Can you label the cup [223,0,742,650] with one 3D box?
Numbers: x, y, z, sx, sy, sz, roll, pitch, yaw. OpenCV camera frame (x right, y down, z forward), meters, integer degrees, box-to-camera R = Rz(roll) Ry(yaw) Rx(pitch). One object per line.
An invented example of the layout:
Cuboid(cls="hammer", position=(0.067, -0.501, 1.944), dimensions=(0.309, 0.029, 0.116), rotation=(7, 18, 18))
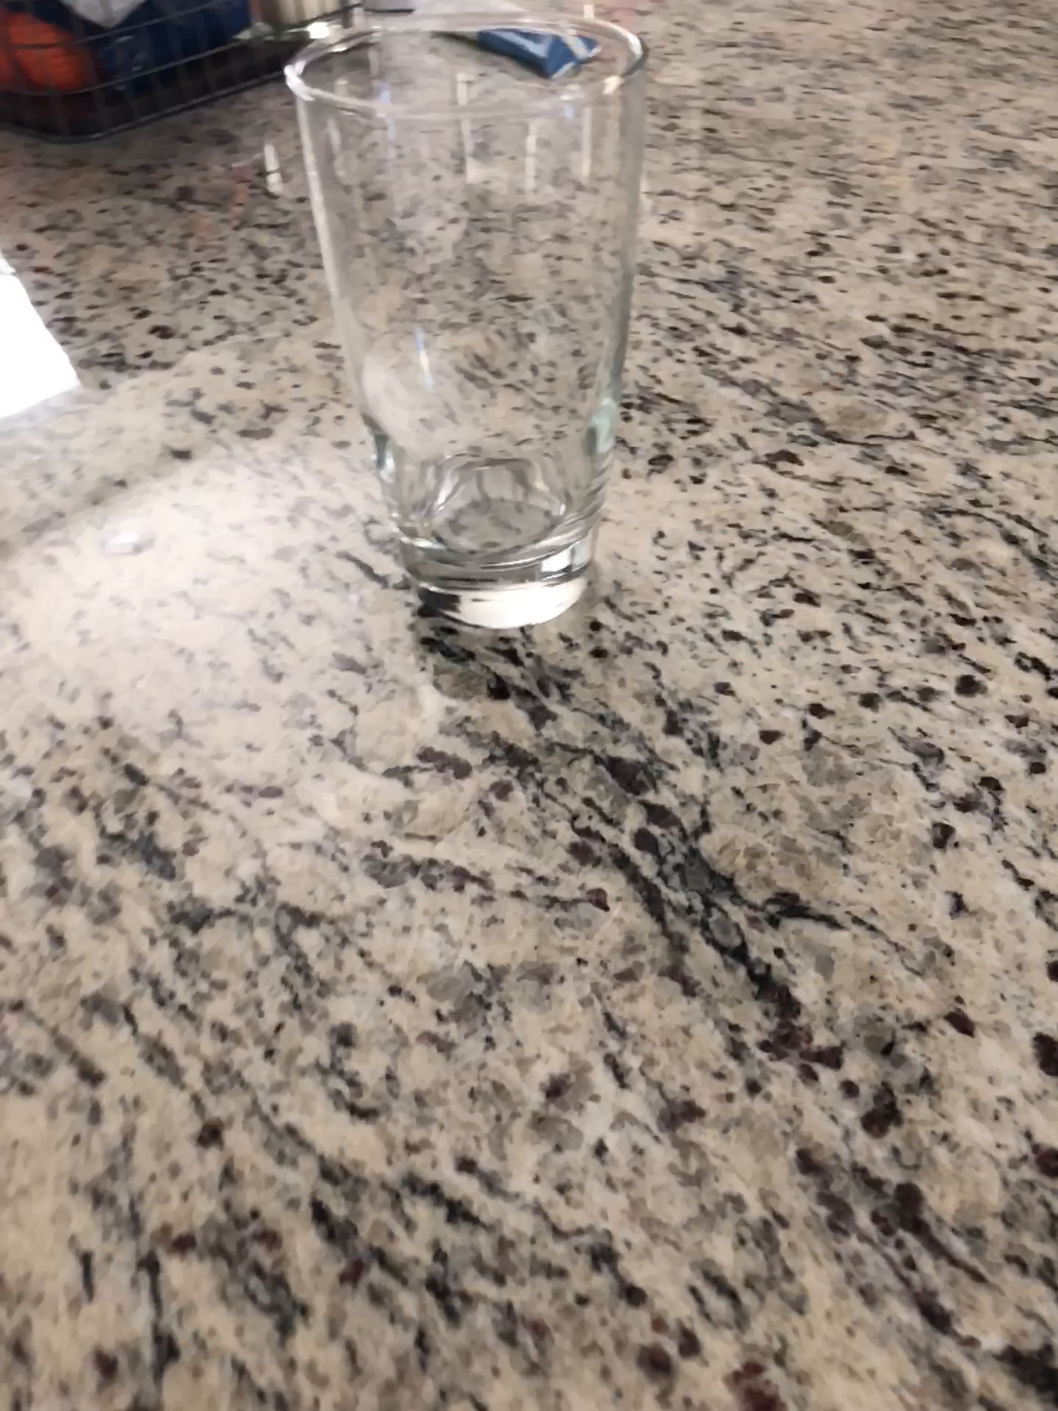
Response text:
Cuboid(cls="cup", position=(-0.010, -0.100, 0.306), dimensions=(0.100, 0.129, 0.101), rotation=(-2, 41, 1))
